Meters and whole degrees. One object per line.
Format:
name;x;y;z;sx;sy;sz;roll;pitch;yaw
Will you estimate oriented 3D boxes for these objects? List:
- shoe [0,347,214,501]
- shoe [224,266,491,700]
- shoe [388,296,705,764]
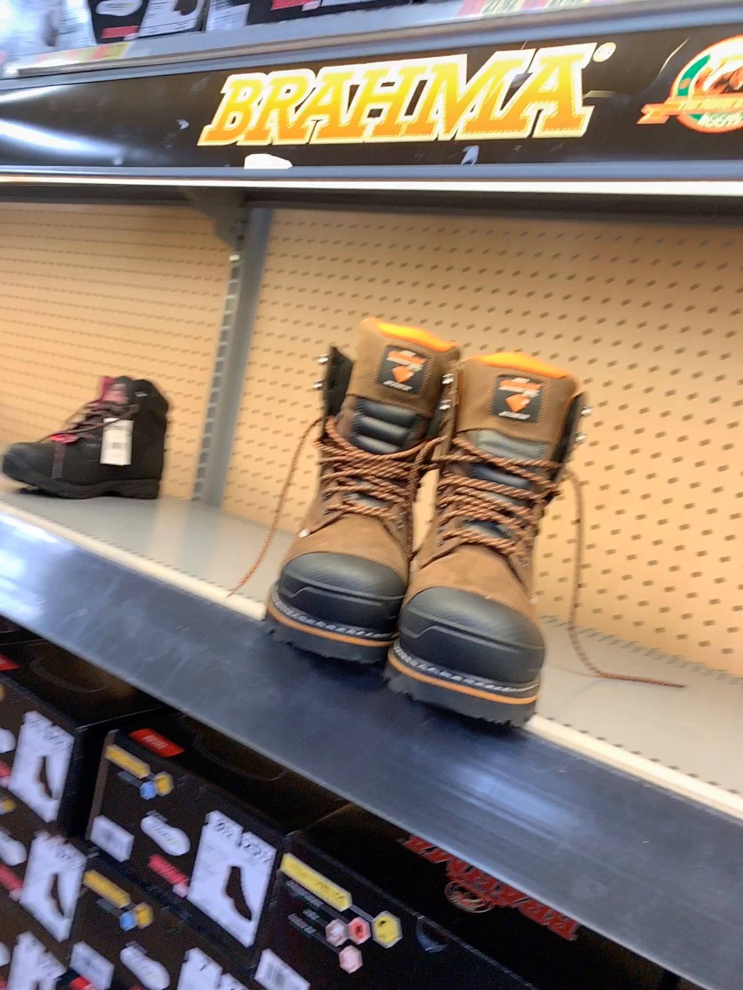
shoe;-0.380;-0.091;1.066;0.146;0.170;0.258;15;7;33
shoe;0.010;-0.020;0.684;0.136;0.280;0.314;12;6;8
shoe;0.121;0.009;0.614;0.134;0.260;0.319;12;6;6
